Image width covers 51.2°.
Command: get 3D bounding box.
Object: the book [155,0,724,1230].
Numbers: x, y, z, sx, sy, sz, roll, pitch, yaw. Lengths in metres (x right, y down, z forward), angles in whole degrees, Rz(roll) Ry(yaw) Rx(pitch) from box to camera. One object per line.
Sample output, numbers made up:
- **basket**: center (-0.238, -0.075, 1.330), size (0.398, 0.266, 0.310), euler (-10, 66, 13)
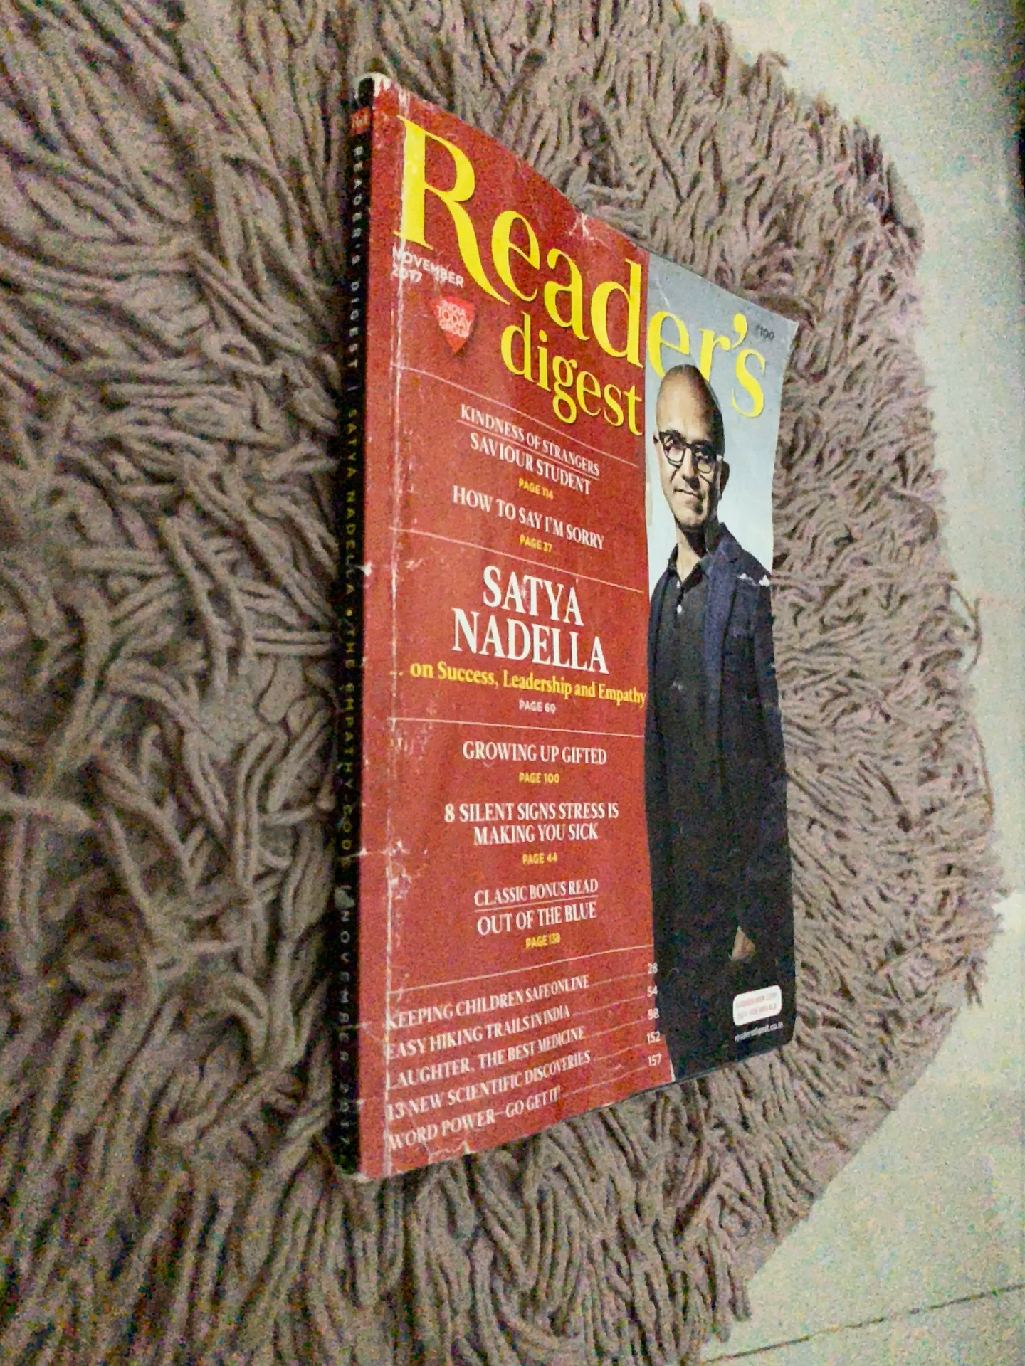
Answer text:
- **book**: center (-0.004, -0.015, 0.205), size (0.131, 0.020, 0.180), euler (4, 81, -53)
